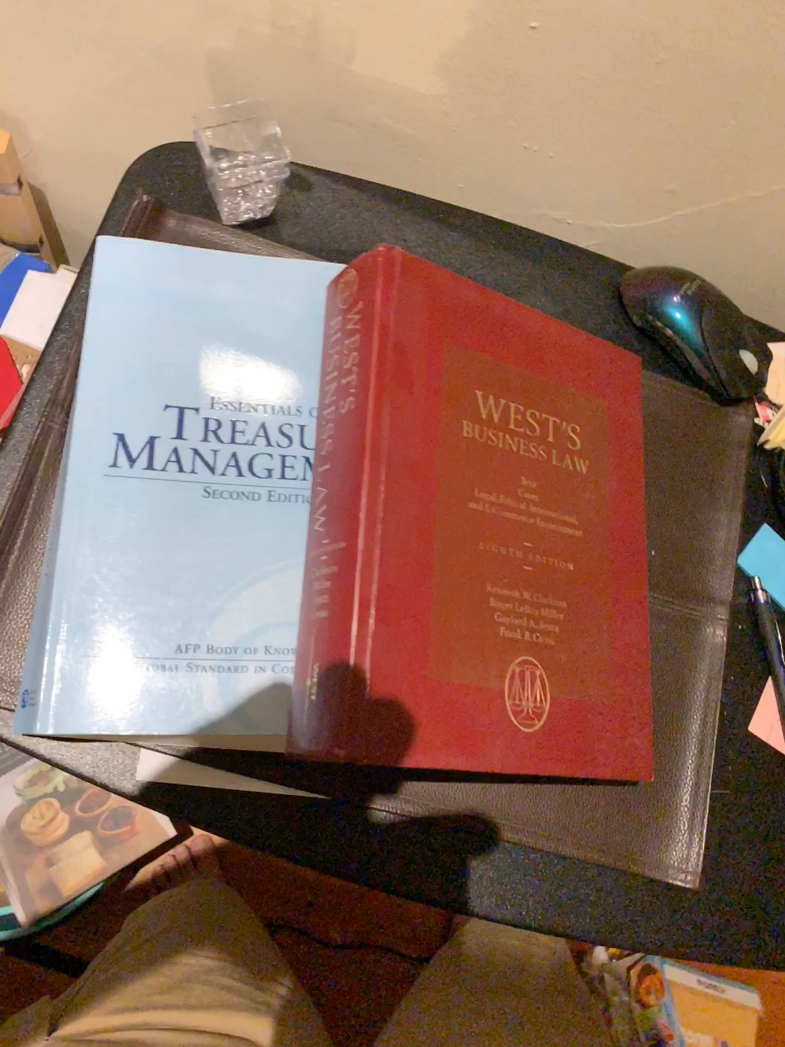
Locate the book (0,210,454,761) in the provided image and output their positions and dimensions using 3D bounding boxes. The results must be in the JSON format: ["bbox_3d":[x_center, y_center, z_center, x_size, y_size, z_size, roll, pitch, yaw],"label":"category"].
[{"bbox_3d":[-0.087,-0.017,0.444,0.220,0.070,0.270,6,74,-9],"label":"book"}]

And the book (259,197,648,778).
[{"bbox_3d":[0.046,-0.007,0.439,0.210,0.050,0.270,13,71,-33],"label":"book"}]
